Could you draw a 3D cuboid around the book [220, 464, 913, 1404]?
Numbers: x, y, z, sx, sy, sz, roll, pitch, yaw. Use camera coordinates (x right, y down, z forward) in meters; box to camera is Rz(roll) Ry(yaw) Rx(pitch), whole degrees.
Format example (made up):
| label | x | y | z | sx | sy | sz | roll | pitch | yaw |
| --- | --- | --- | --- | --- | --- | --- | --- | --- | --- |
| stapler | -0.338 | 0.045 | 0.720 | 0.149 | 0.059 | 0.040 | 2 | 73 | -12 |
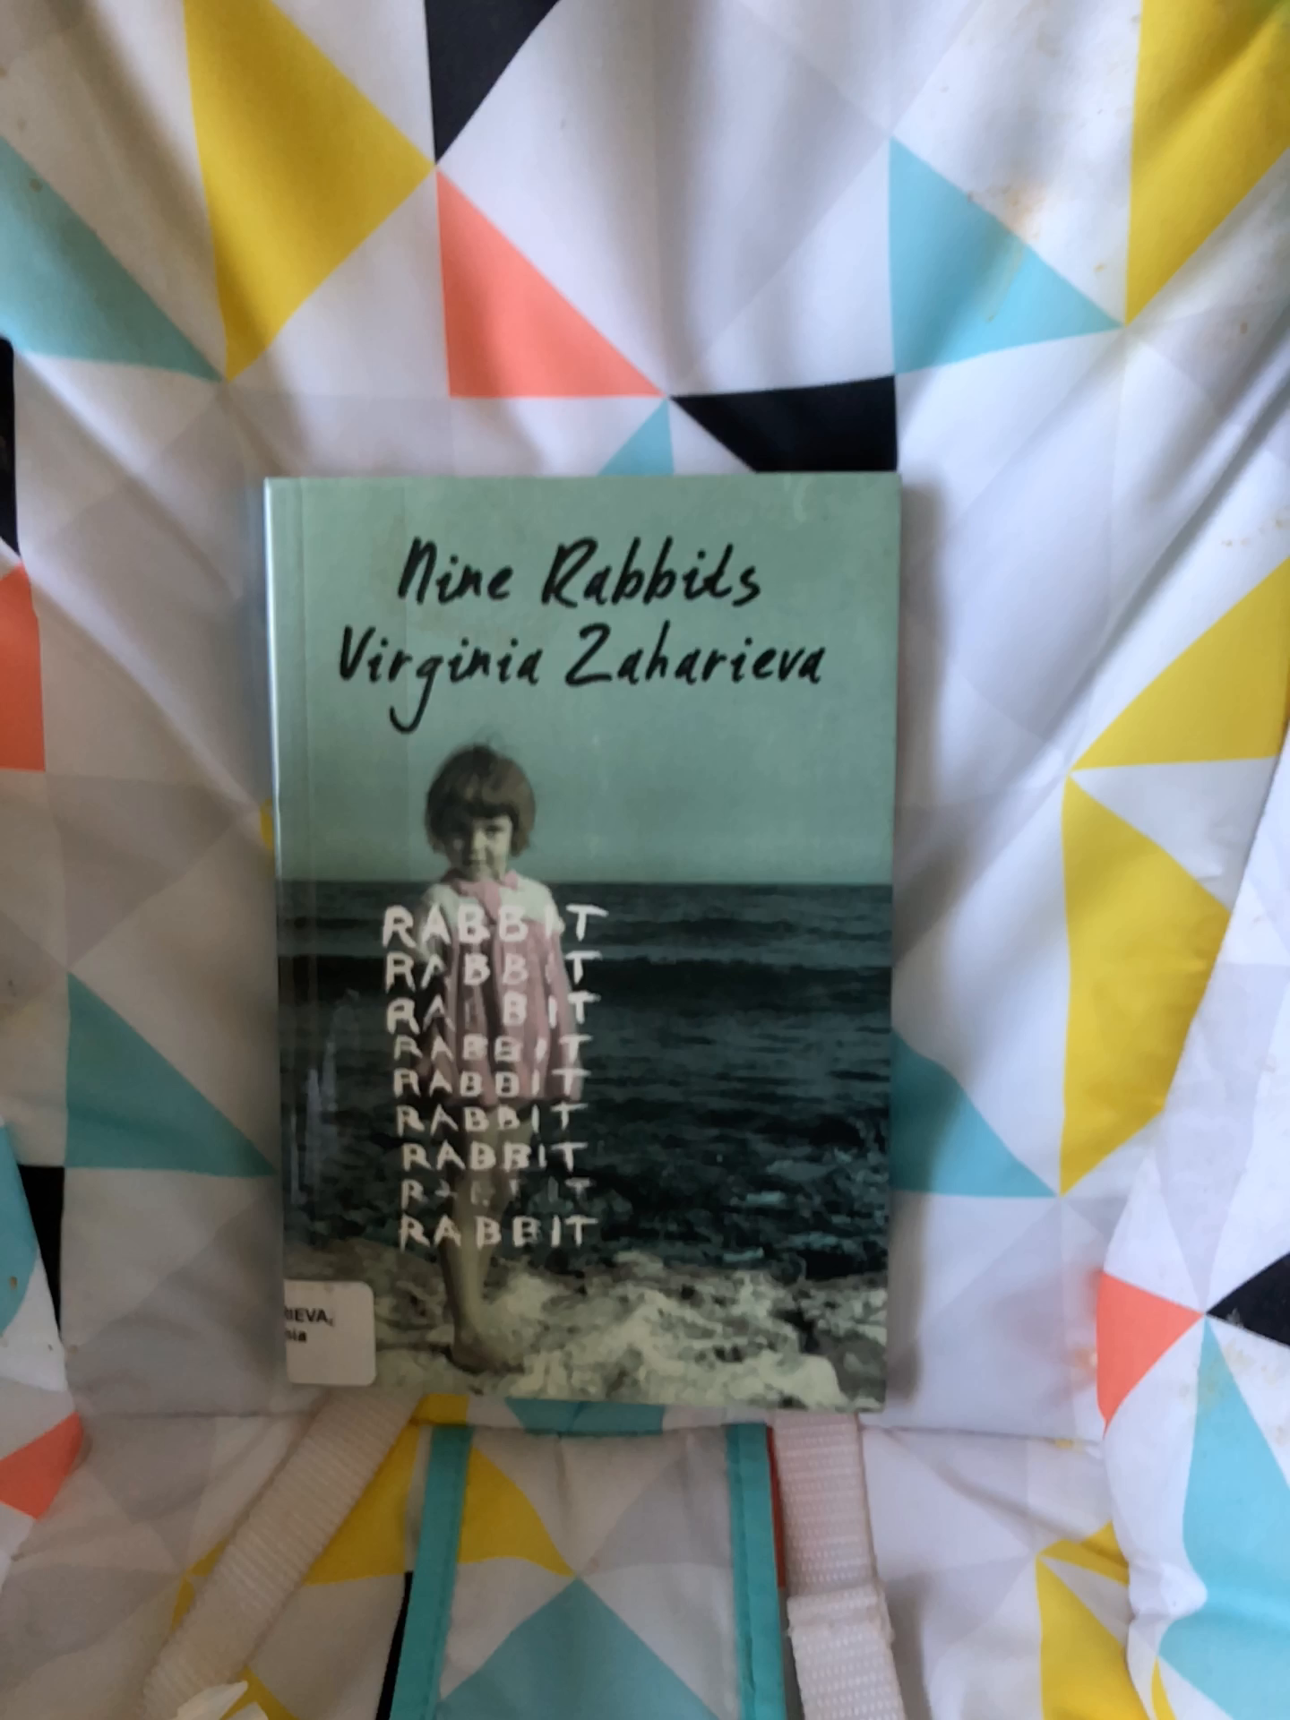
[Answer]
| label | x | y | z | sx | sy | sz | roll | pitch | yaw |
| --- | --- | --- | --- | --- | --- | --- | --- | --- | --- |
| book | -0.017 | 0.017 | 0.321 | 0.145 | 0.025 | 0.200 | 0 | 94 | 3 |
